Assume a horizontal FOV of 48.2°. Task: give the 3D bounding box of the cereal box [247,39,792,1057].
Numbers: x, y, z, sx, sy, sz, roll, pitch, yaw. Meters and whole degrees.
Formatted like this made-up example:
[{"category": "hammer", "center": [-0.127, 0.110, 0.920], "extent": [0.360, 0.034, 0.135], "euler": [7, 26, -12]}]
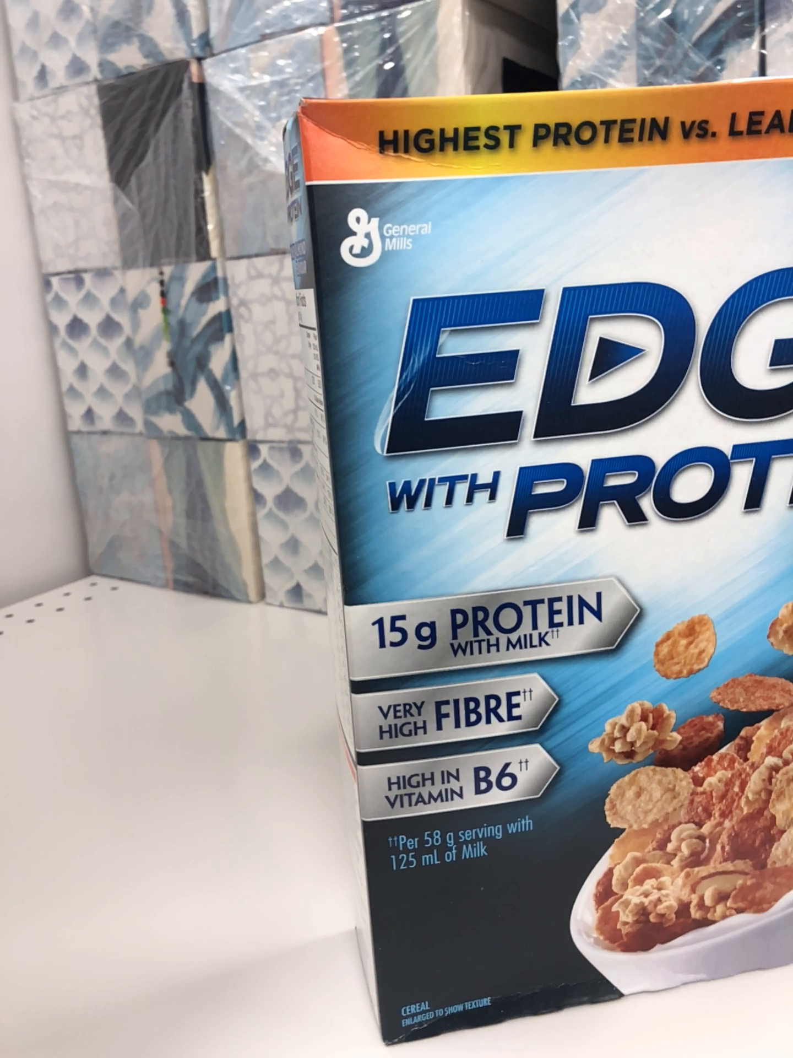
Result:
[{"category": "cereal box", "center": [0.072, 0.016, 0.270], "extent": [0.200, 0.279, 0.050], "euler": [-7, 16, -9]}]
